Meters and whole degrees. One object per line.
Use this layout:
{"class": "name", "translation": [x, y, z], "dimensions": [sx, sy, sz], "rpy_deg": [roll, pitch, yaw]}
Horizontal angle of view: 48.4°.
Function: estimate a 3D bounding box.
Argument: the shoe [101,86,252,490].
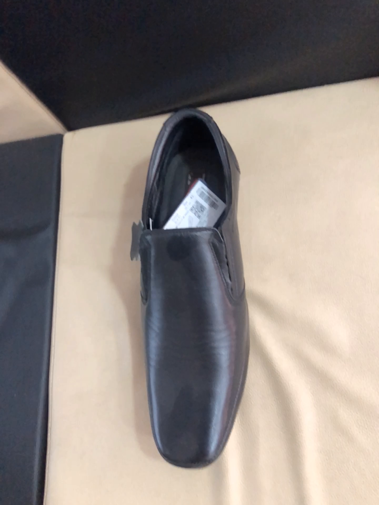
{"class": "shoe", "translation": [-0.002, 0.022, 0.383], "dimensions": [0.100, 0.090, 0.320], "rpy_deg": [-3, 74, 14]}
